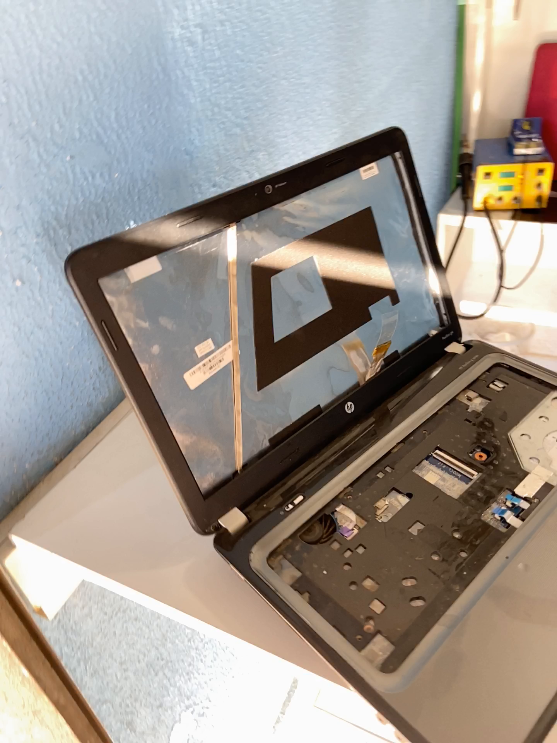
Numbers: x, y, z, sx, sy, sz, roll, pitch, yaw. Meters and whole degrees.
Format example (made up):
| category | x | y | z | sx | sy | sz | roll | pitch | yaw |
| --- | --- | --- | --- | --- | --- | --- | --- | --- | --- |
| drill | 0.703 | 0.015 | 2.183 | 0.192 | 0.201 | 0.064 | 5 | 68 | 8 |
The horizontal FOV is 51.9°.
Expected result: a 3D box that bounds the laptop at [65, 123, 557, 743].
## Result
| category | x | y | z | sx | sy | sz | roll | pitch | yaw |
| --- | --- | --- | --- | --- | --- | --- | --- | --- | --- |
| laptop | 0.104 | -0.011 | 0.406 | 0.336 | 0.194 | 0.324 | -32 | 43 | -29 |
